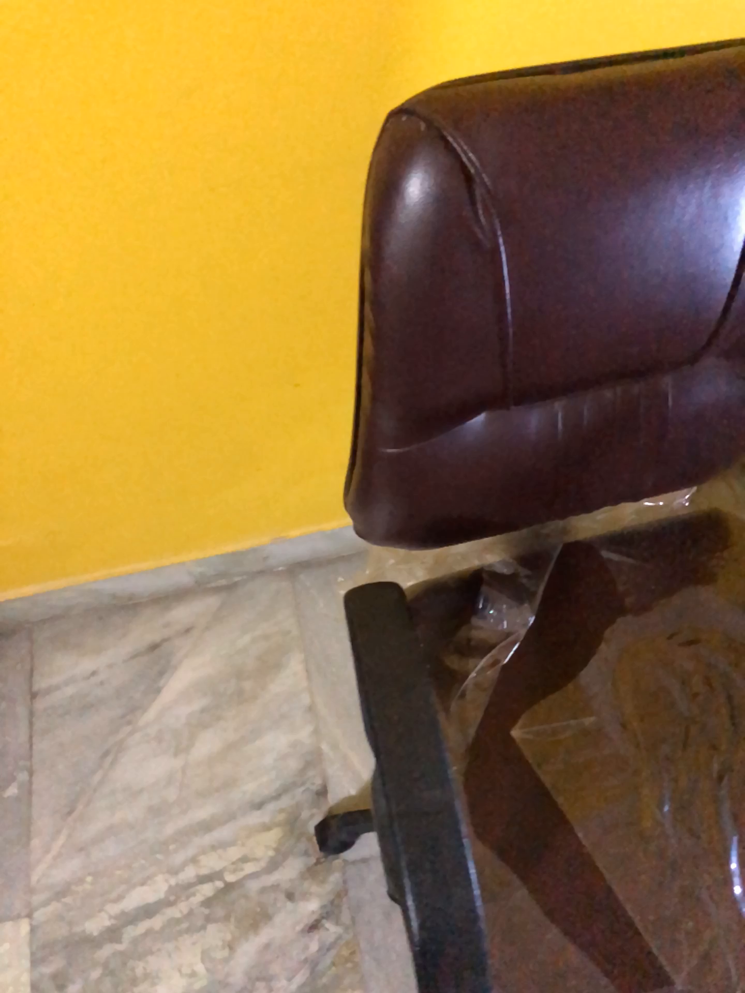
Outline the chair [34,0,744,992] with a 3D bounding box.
[{"bbox_3d":[0.240,0.177,0.785,0.691,0.976,0.682,-16,58,-7],"label":"chair"}]
